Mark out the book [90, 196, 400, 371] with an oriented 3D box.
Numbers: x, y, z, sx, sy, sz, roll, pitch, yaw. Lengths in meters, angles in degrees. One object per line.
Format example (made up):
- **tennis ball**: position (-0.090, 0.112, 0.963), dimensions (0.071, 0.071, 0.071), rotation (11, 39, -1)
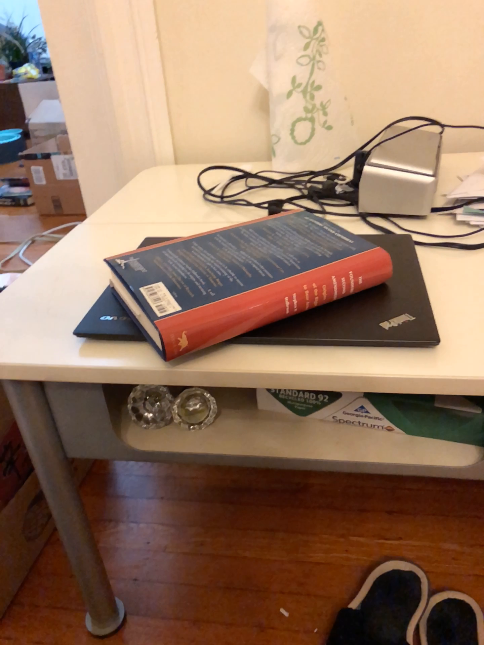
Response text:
- **book**: position (-0.002, -0.054, 0.507), dimensions (0.240, 0.040, 0.171), rotation (-20, 32, -20)
